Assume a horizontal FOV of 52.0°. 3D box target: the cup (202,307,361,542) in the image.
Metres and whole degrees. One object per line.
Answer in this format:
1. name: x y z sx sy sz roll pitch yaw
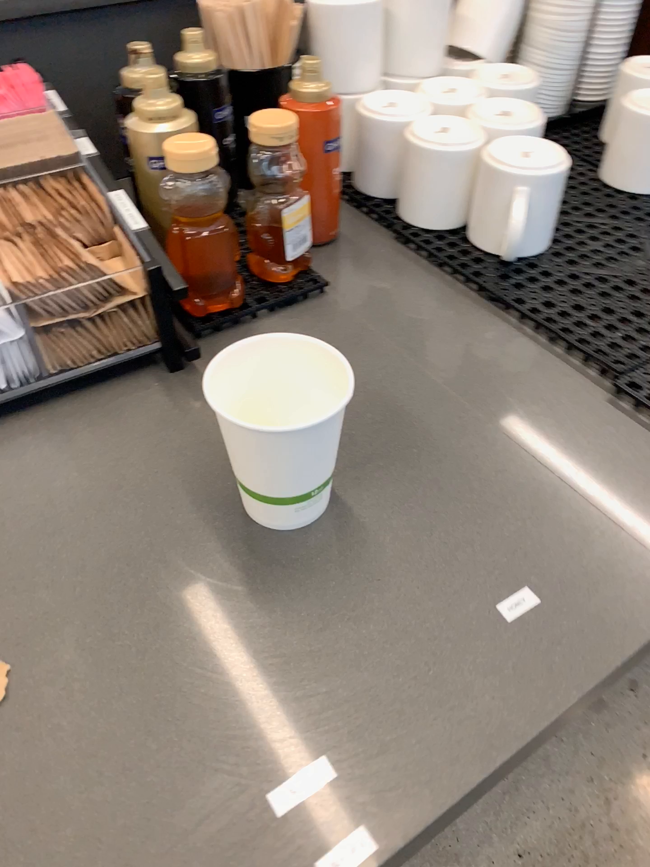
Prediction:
1. cup: -0.021 -0.004 0.411 0.080 0.119 0.080 0 45 0
